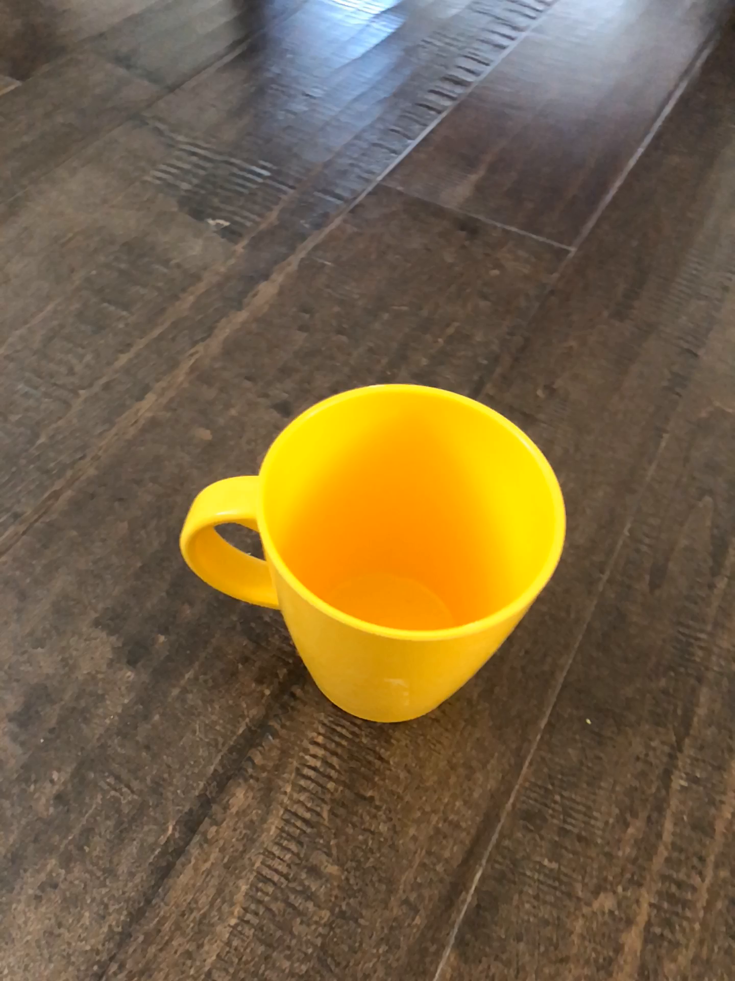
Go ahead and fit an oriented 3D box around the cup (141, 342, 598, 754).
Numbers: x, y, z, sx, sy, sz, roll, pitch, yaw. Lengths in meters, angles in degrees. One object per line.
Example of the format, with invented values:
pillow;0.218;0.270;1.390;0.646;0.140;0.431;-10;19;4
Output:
cup;-0.002;0.022;0.264;0.110;0.099;0.091;1;52;-3
